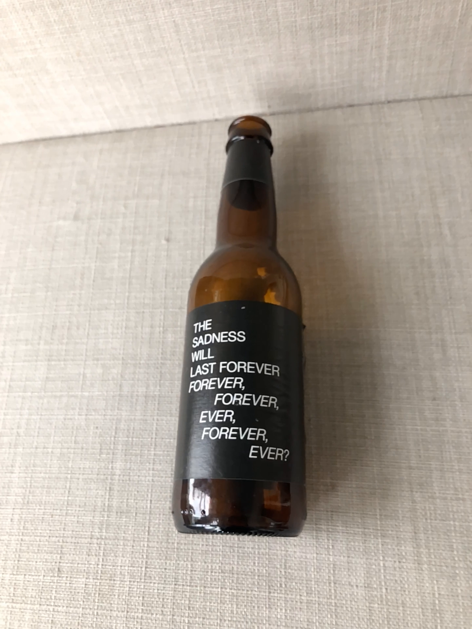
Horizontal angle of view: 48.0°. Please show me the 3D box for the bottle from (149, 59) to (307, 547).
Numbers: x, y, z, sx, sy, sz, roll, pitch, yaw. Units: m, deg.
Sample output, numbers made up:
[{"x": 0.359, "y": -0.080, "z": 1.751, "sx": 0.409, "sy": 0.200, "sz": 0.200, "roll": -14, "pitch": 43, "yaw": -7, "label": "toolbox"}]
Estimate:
[{"x": 0.004, "y": -0.014, "z": 0.273, "sx": 0.060, "sy": 0.060, "sz": 0.239, "roll": -1, "pitch": 69, "yaw": 9, "label": "bottle"}]
